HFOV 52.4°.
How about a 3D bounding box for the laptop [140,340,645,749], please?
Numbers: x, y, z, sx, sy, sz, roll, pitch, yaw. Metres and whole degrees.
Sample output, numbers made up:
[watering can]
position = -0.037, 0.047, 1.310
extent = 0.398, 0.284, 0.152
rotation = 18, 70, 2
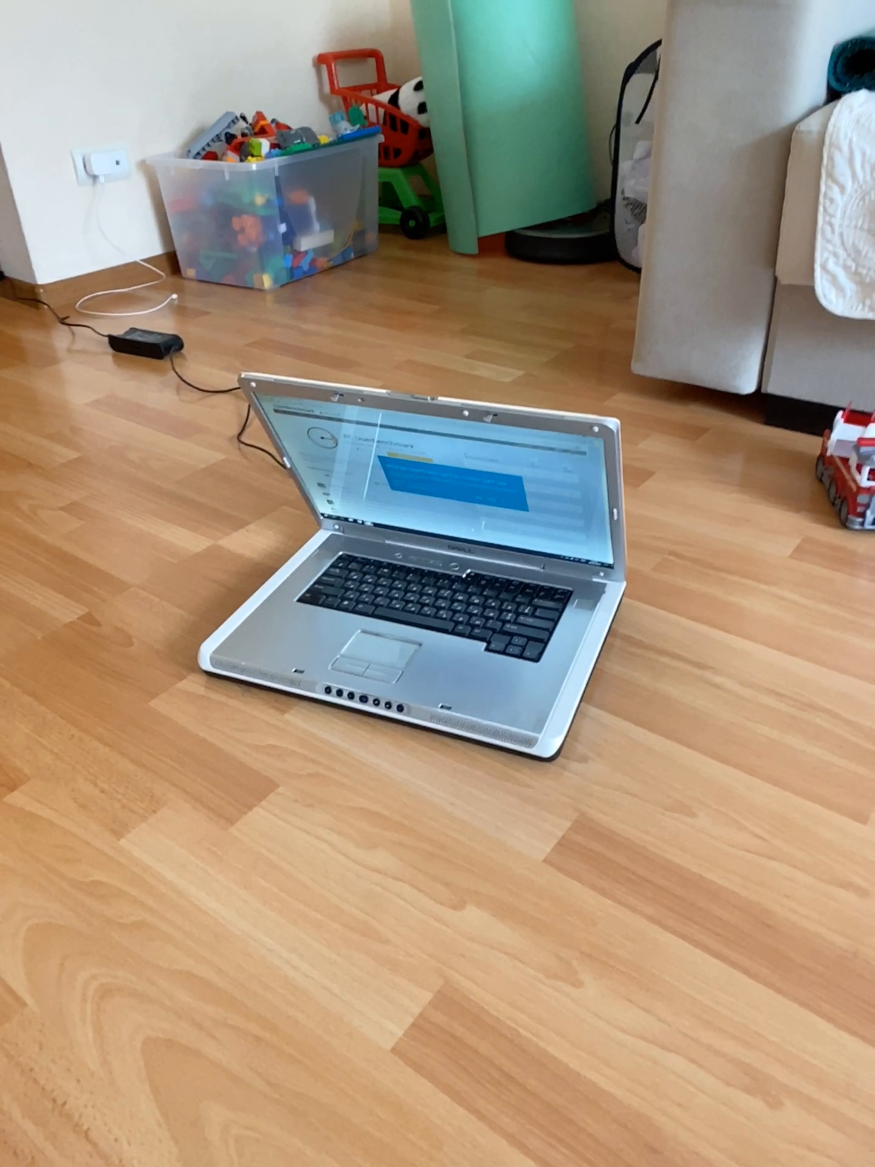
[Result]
[laptop]
position = -0.025, -0.064, 0.879
extent = 0.386, 0.238, 0.275
rotation = 11, 35, 20
